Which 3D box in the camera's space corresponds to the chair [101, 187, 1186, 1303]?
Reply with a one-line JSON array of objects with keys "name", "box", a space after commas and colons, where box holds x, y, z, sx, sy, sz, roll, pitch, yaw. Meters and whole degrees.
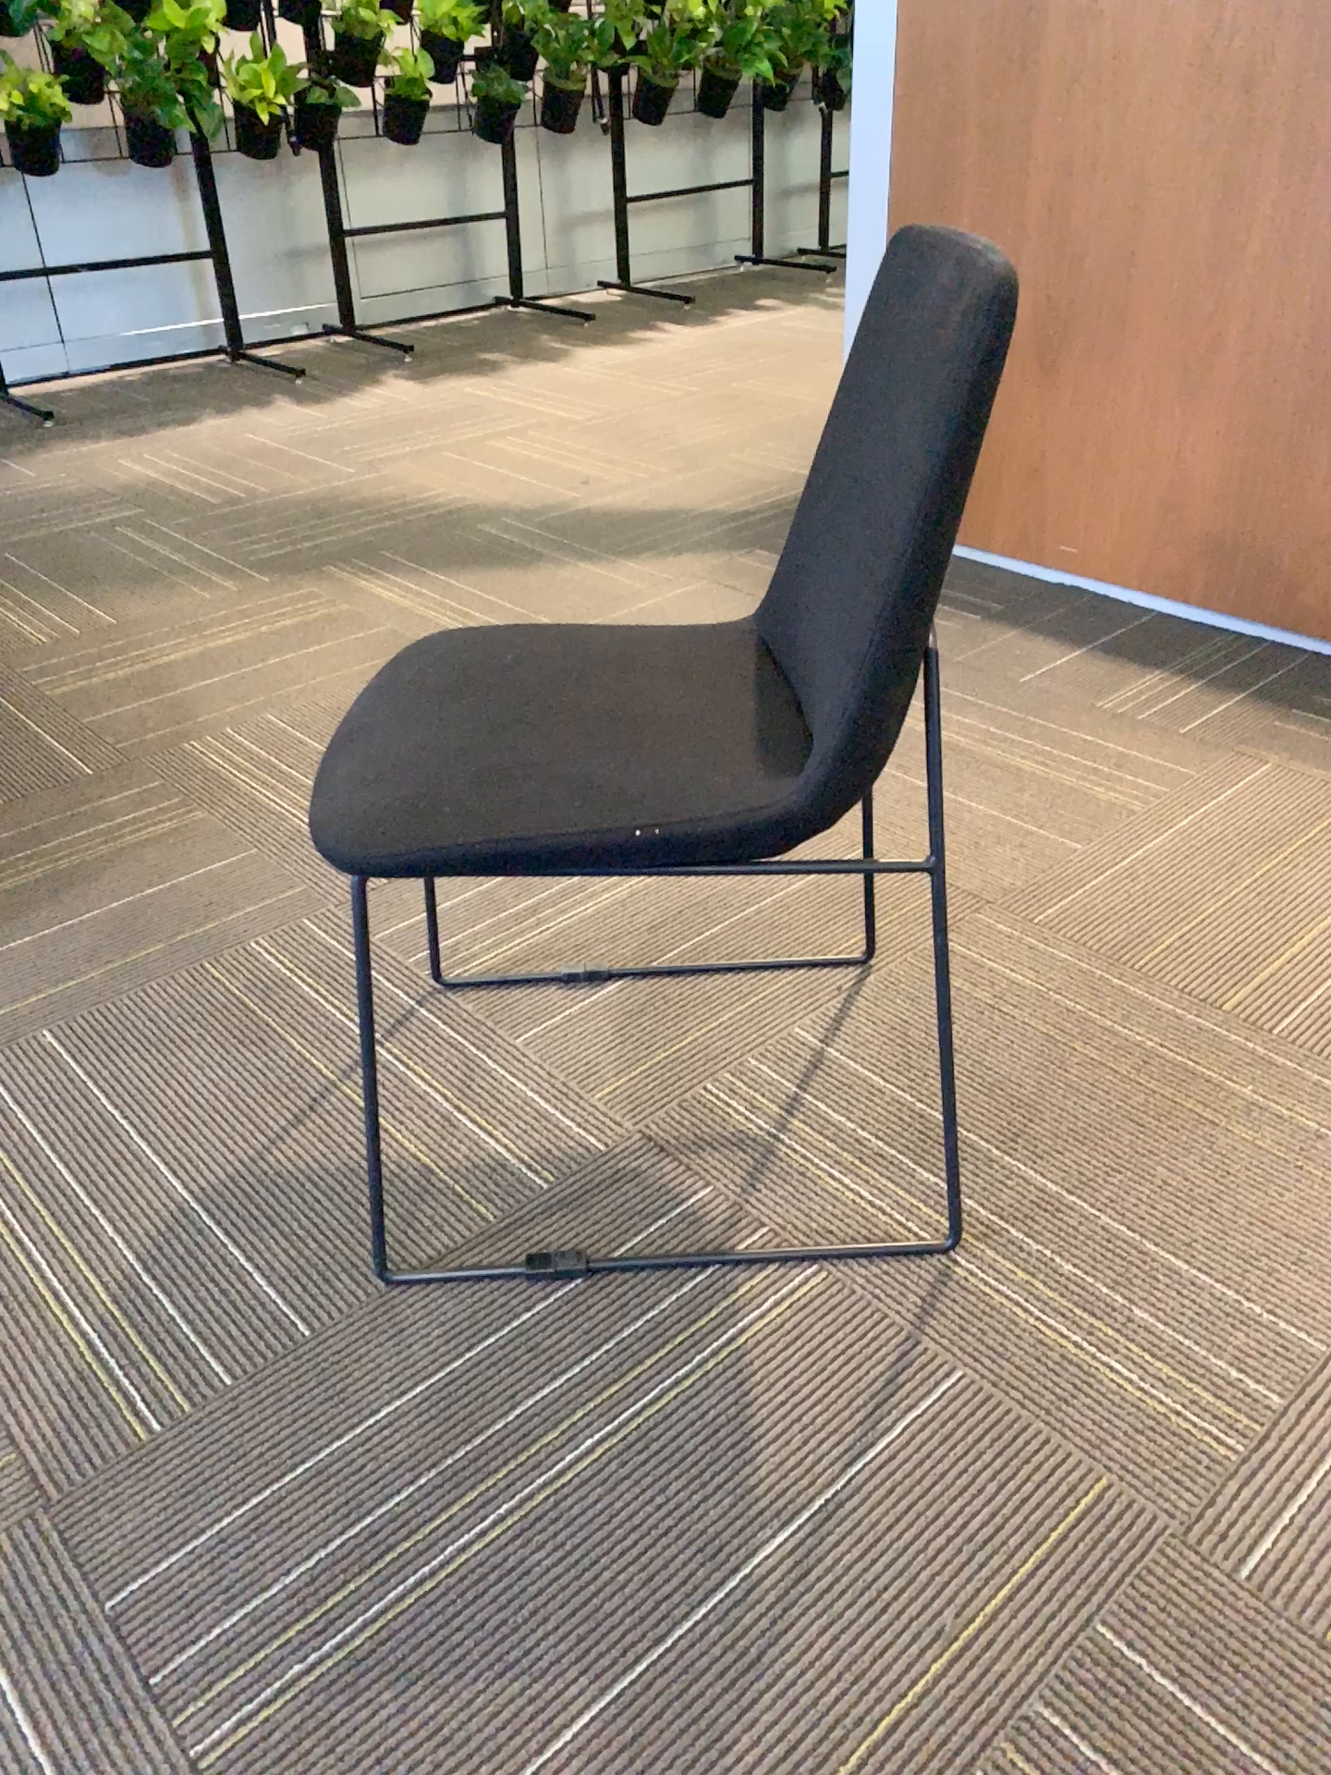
[{"name": "chair", "box": [-0.008, -0.125, 1.117, 0.570, 0.745, 0.493, -3, 32, -1]}]
